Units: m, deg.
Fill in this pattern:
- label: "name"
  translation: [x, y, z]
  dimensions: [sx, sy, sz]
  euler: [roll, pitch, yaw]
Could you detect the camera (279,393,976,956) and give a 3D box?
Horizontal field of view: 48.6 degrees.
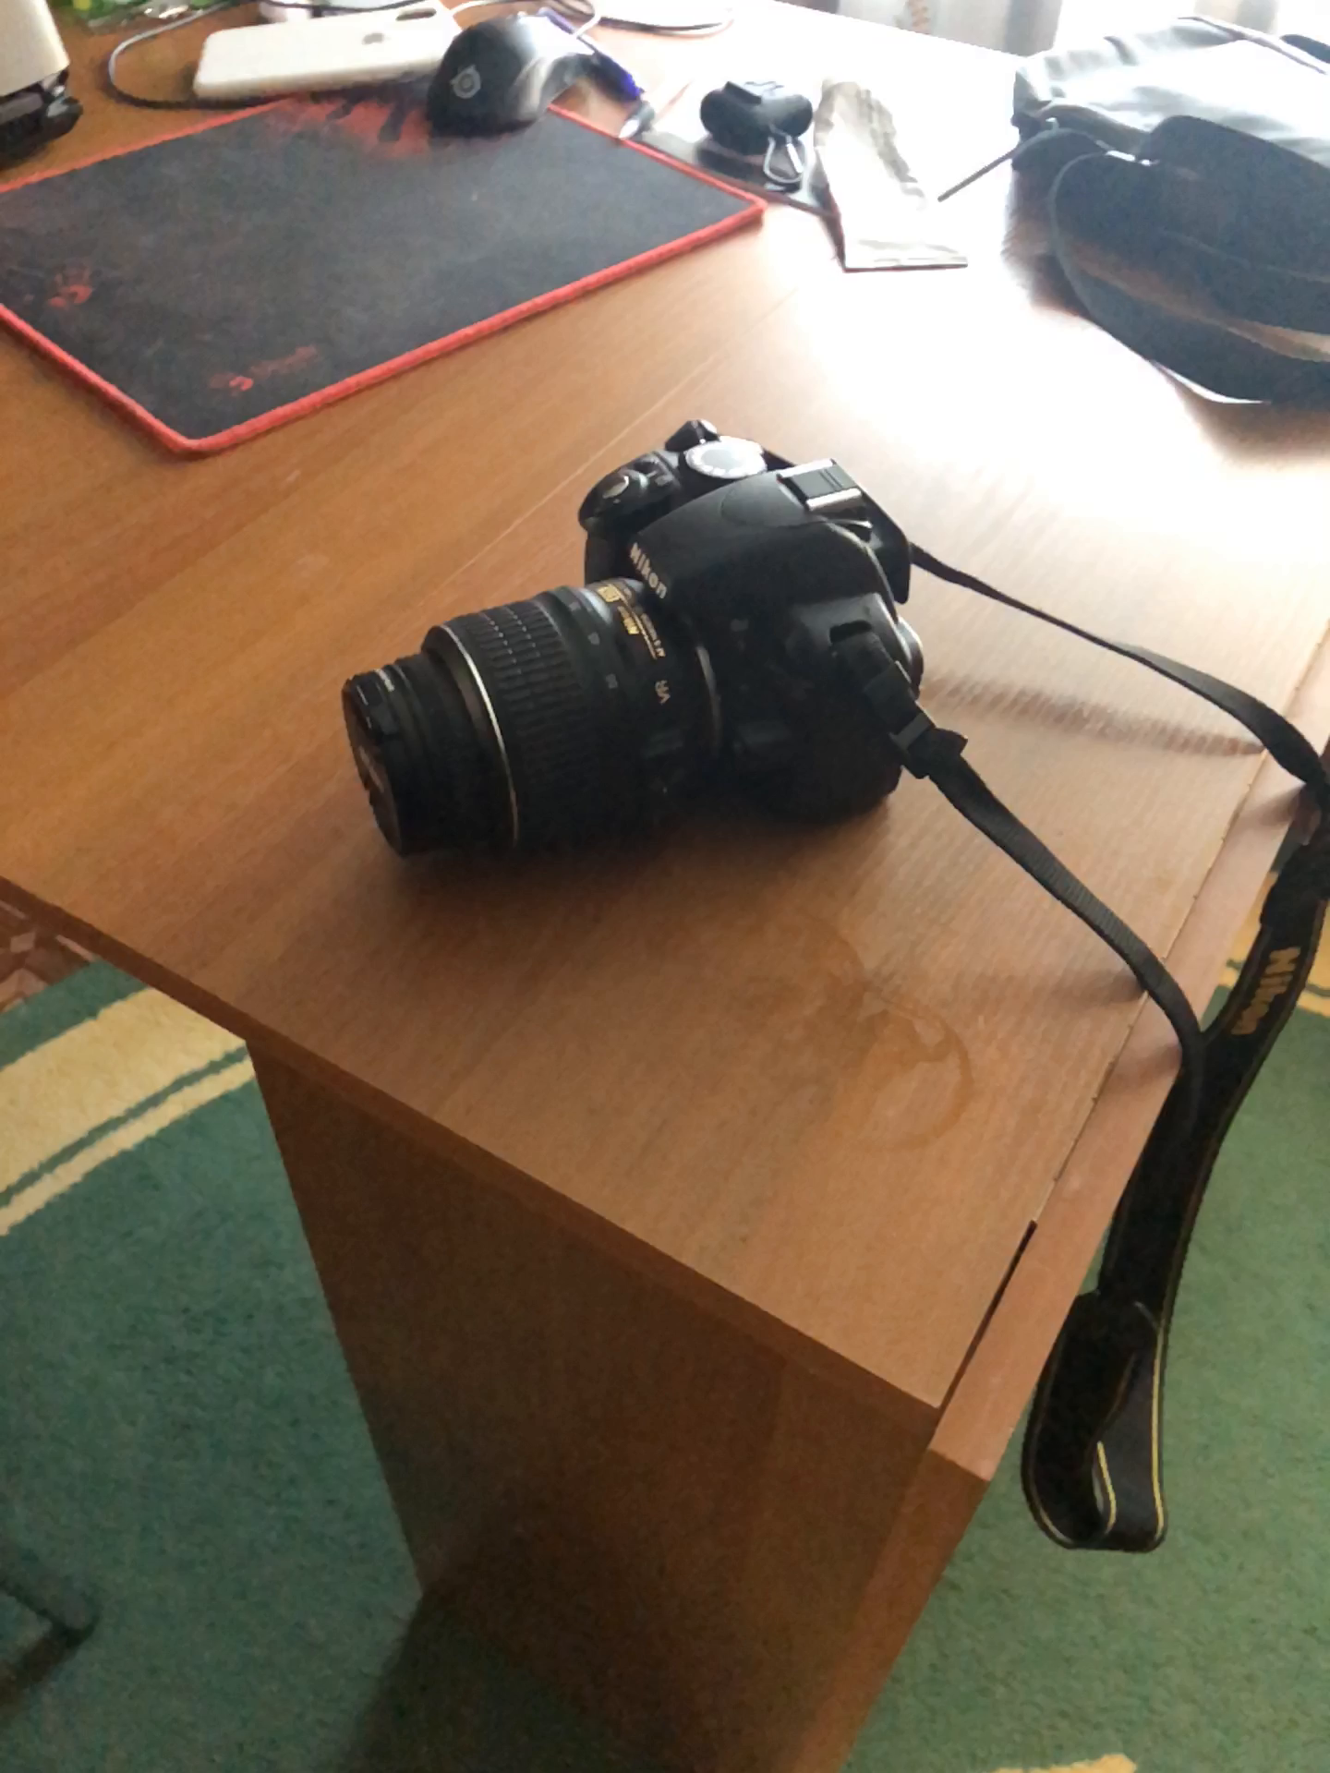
- label: "camera"
  translation: [-0.014, -0.068, 0.434]
  dimensions: [0.161, 0.078, 0.111]
  euler: [-17, 51, -18]
